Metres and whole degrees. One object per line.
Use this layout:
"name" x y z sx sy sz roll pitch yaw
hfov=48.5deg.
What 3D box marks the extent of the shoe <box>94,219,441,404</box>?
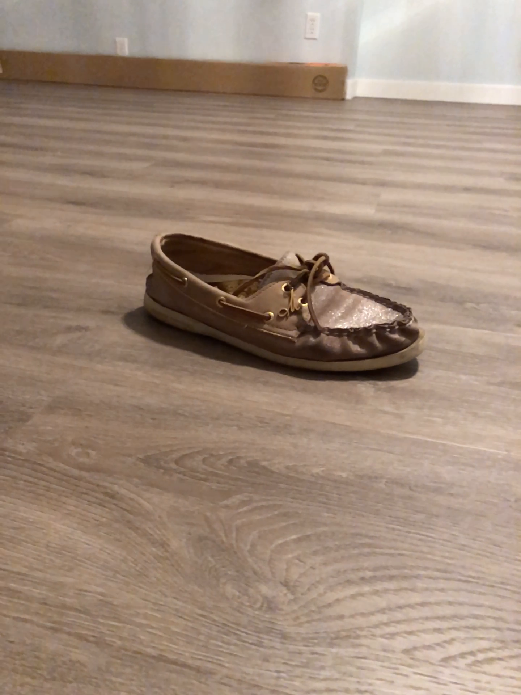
"shoe" 0.003 -0.040 0.464 0.250 0.070 0.100 14 29 21
